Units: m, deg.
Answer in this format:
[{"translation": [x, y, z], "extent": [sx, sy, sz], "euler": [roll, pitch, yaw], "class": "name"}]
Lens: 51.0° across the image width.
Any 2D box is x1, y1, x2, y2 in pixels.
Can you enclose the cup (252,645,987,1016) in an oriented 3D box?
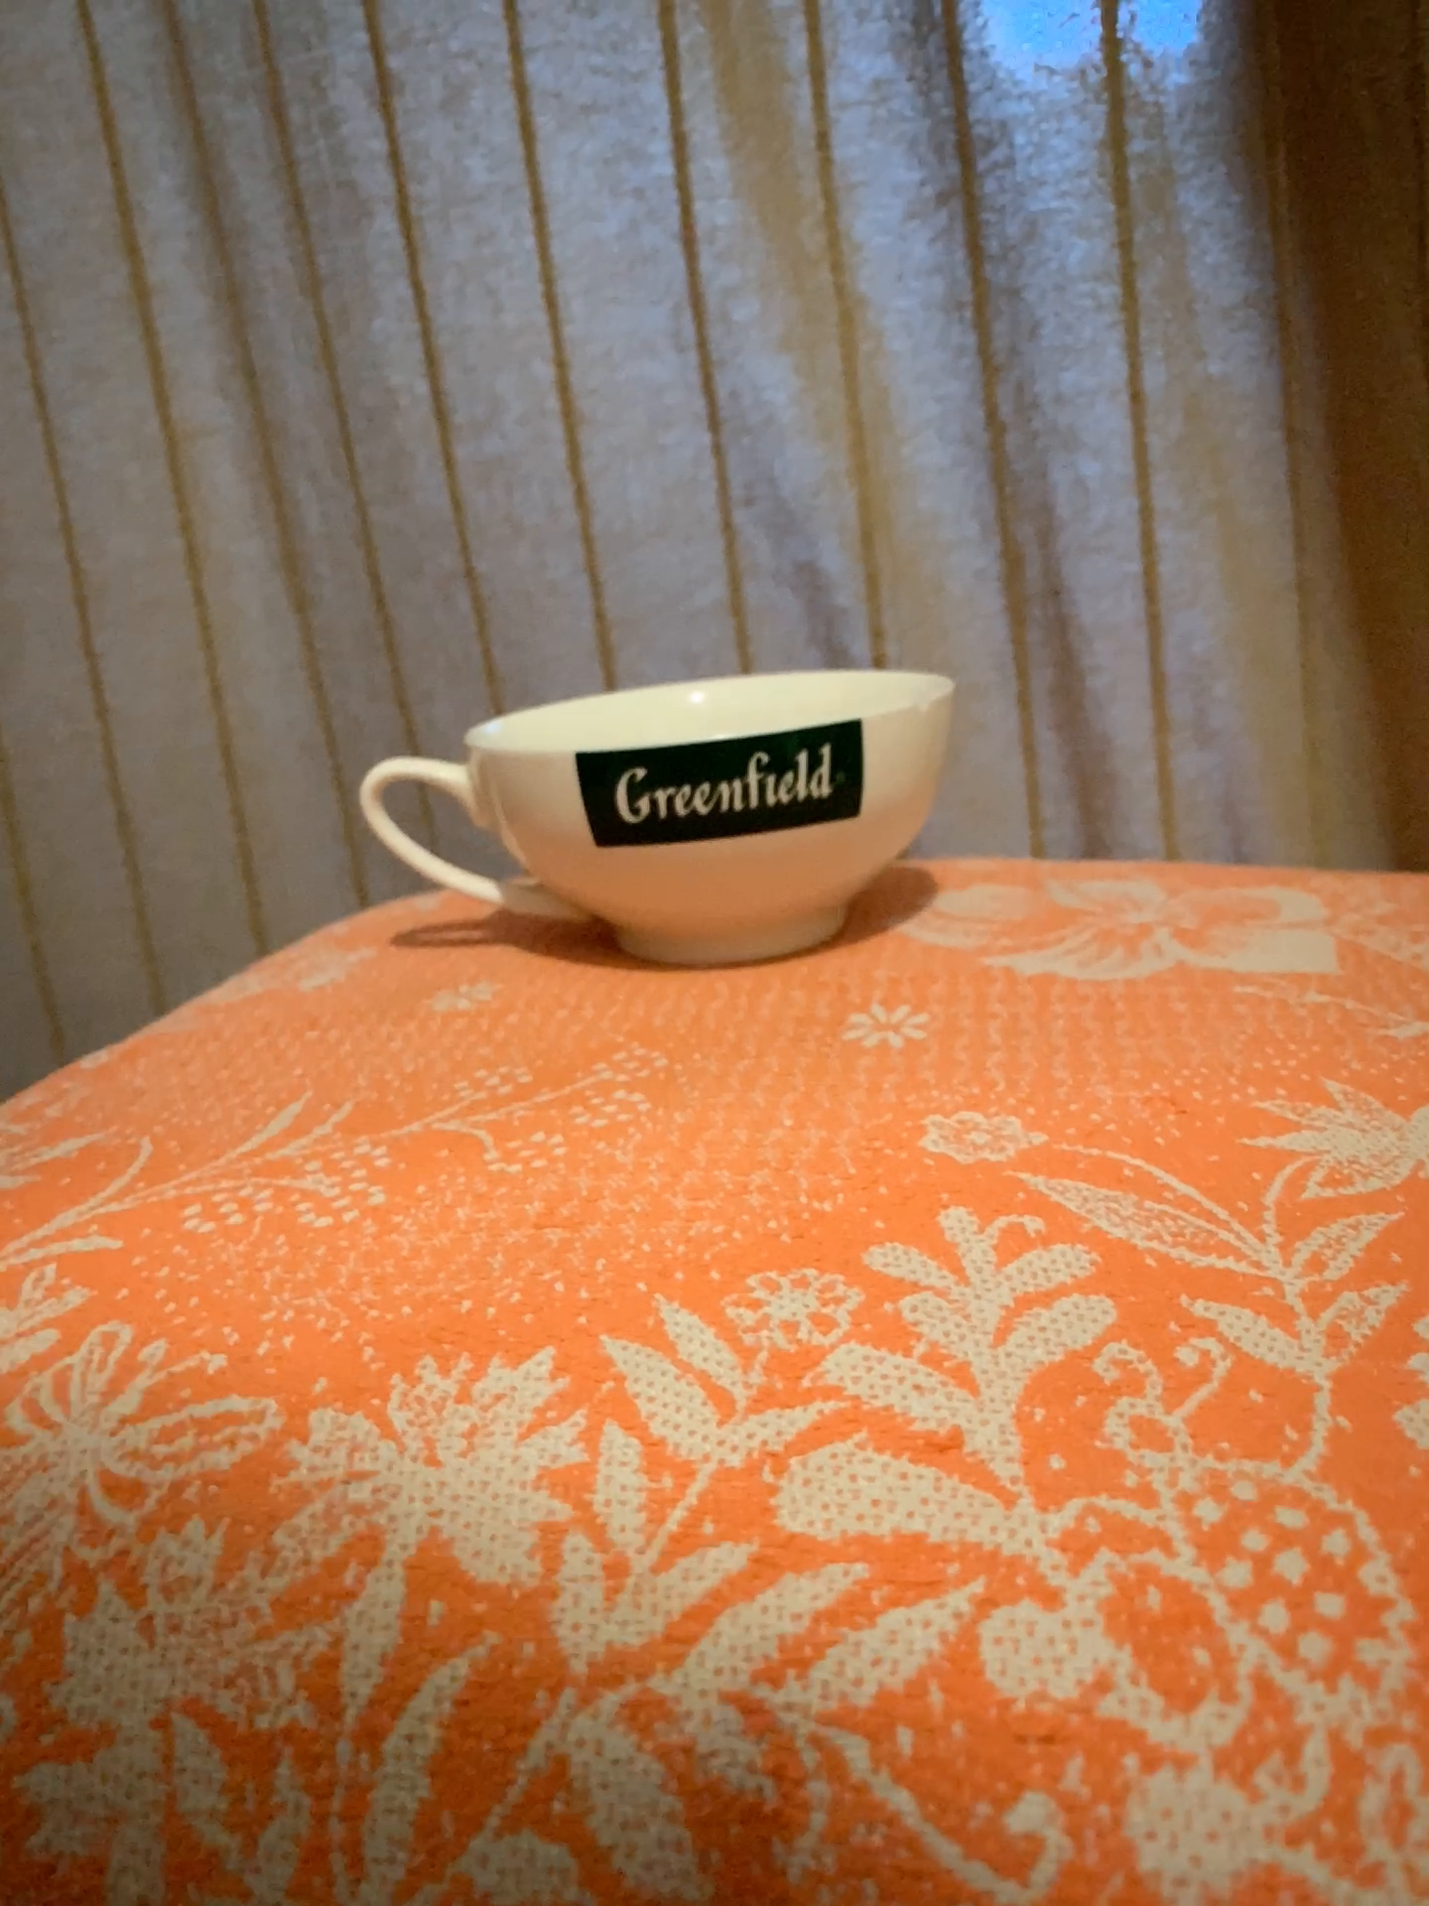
[{"translation": [-0.017, -0.034, 0.340], "extent": [0.136, 0.056, 0.115], "euler": [-3, 15, 1], "class": "cup"}]
